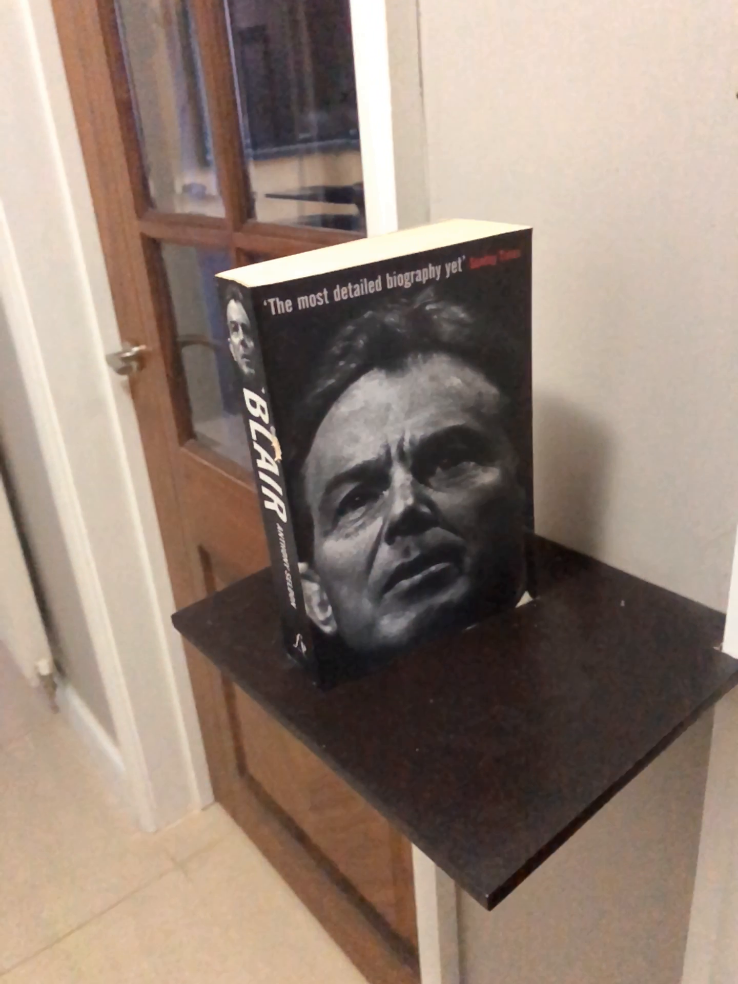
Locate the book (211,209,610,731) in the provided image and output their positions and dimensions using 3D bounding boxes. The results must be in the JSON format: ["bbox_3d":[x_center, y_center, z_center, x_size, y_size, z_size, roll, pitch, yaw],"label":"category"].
[{"bbox_3d":[0.030,-0.017,0.401,0.170,0.209,0.060,-18,28,-26],"label":"book"}]
